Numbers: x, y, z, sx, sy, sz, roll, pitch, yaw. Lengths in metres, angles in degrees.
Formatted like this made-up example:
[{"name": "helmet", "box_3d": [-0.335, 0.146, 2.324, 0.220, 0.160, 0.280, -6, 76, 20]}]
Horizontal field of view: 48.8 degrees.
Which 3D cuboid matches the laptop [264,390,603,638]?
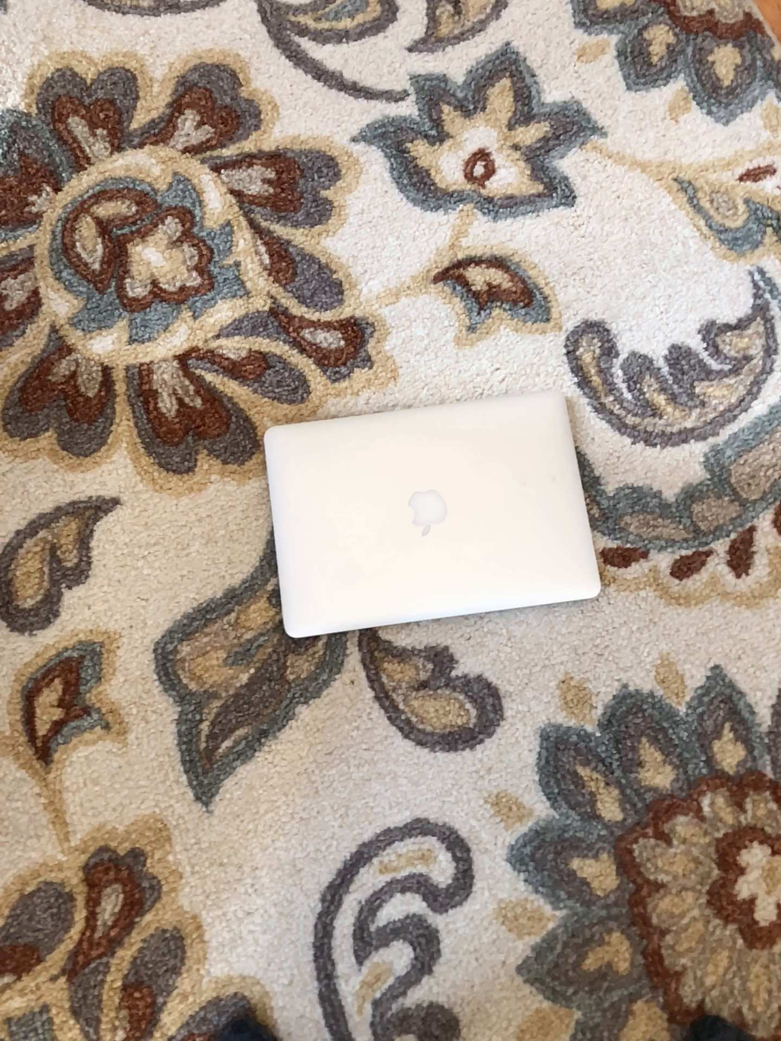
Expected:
[{"name": "laptop", "box_3d": [0.038, -0.010, 0.821, 0.295, 0.001, 0.207, -7, 77, -2]}]
